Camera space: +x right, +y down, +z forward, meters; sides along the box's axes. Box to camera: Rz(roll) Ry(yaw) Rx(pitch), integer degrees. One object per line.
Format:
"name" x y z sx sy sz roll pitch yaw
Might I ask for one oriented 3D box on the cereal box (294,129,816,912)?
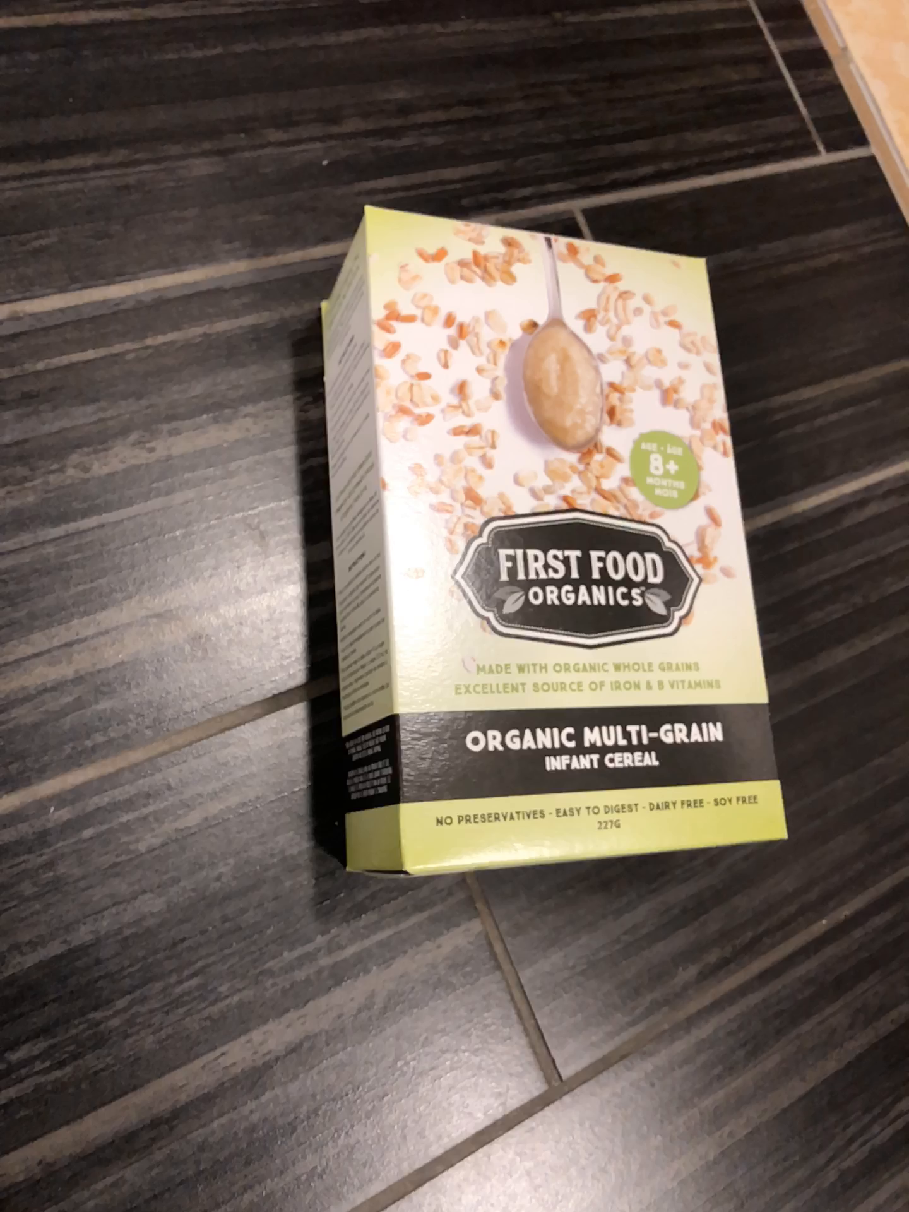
"cereal box" 0.025 -0.025 0.334 0.140 0.060 0.230 2 75 -21
